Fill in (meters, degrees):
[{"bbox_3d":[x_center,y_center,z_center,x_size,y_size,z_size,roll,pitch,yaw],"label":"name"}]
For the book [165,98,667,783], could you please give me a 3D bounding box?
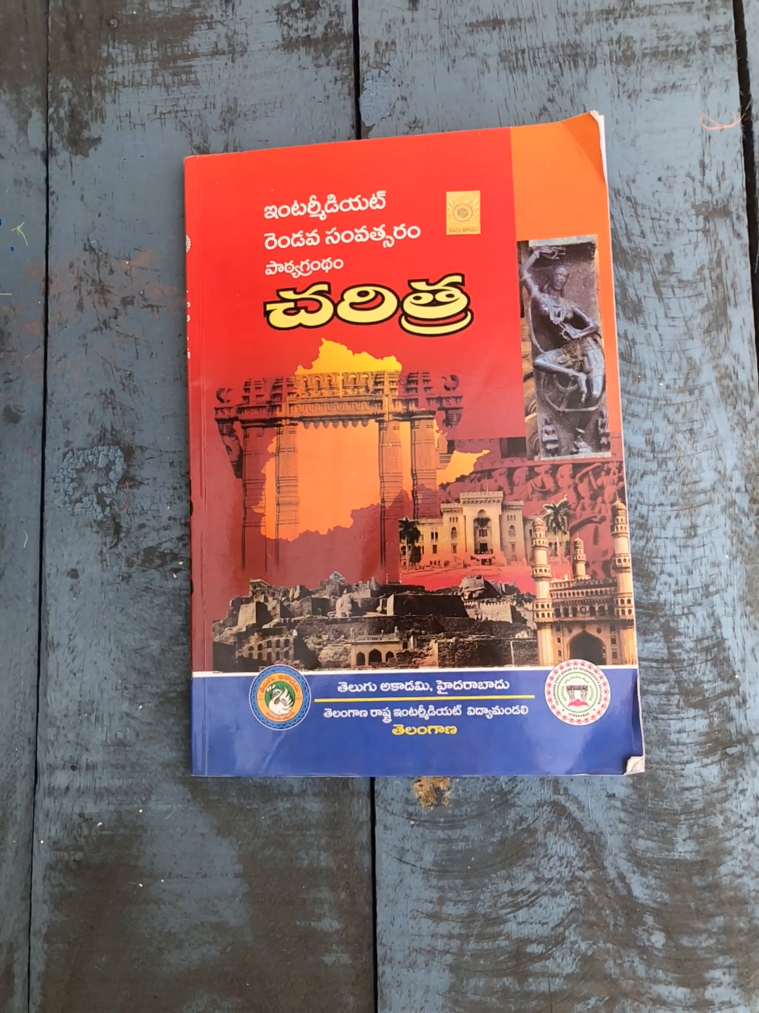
[{"bbox_3d":[0.011,-0.028,0.355,0.190,0.040,0.270,-2,83,5],"label":"book"}]
